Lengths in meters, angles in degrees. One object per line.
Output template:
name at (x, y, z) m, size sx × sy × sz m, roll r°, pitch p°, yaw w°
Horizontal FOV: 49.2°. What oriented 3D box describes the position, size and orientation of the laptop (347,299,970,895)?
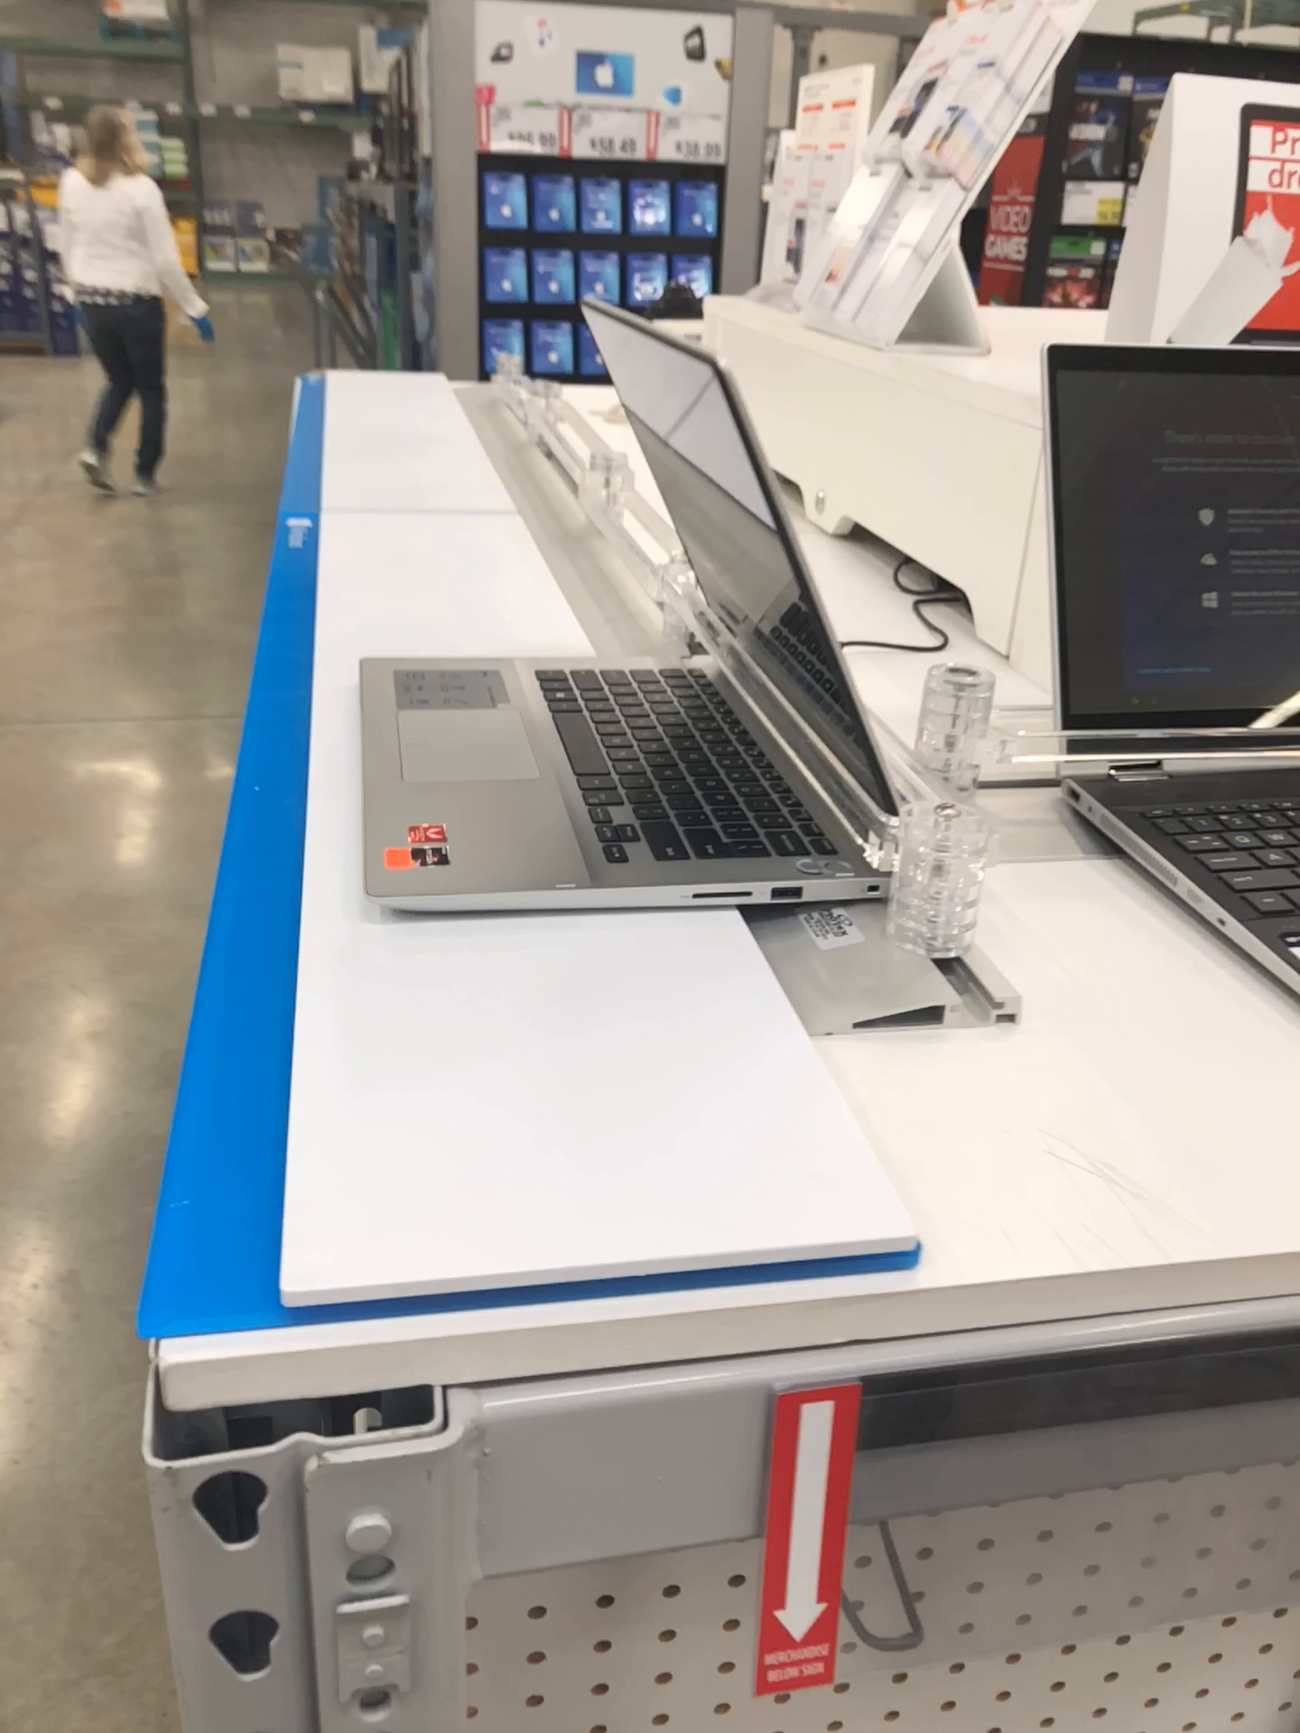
laptop at (-0.026, -0.151, 0.678) m, size 0.222 × 0.199 × 0.320 m, roll -2°, pitch 25°, yaw -11°
